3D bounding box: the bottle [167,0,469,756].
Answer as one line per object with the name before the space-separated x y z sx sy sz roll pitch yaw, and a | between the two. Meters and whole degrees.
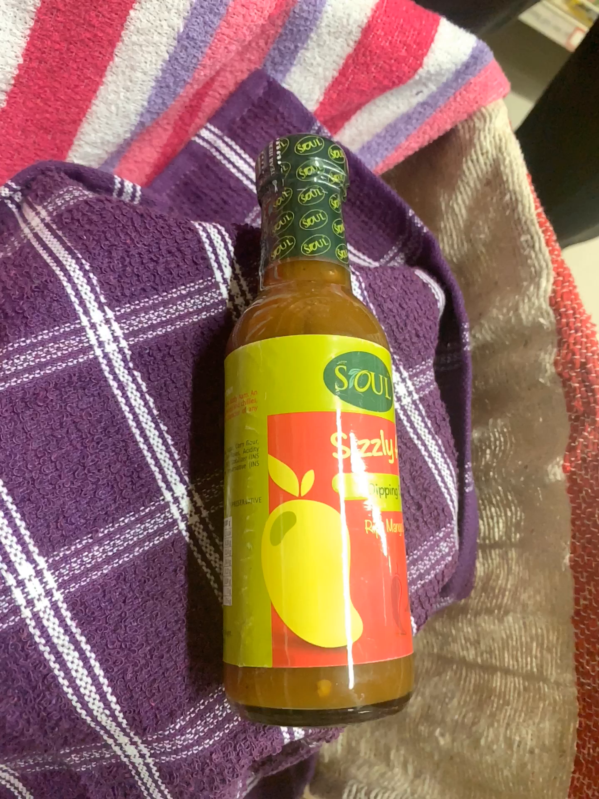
bottle | -0.001 -0.012 0.196 0.060 0.060 0.200 6 72 -27
